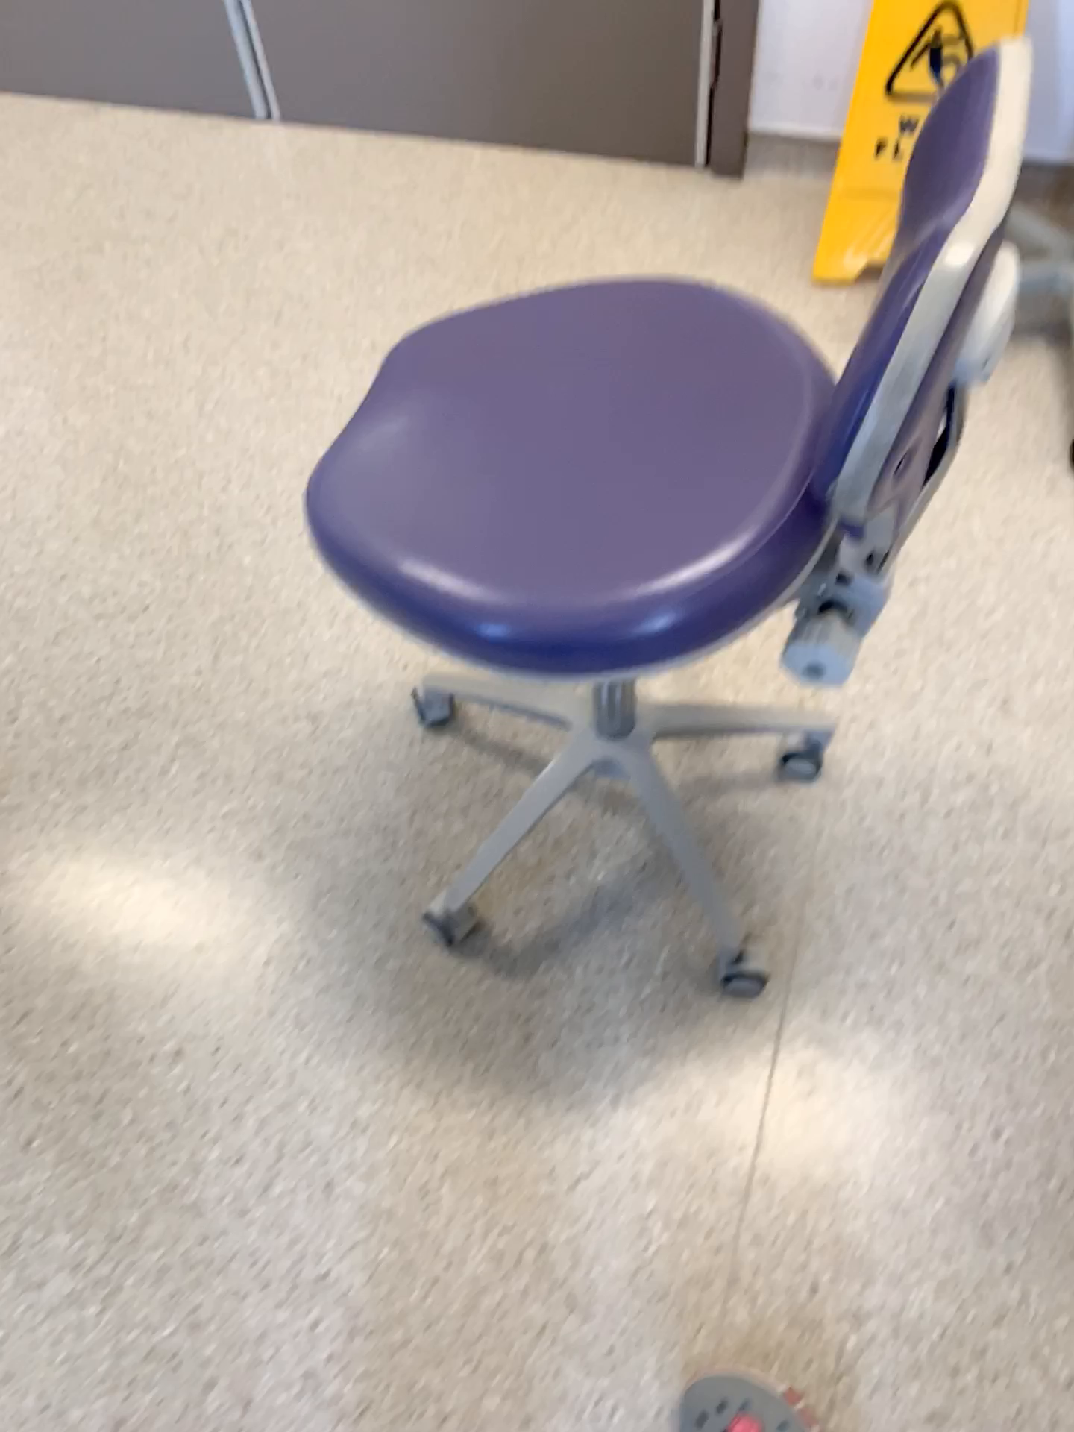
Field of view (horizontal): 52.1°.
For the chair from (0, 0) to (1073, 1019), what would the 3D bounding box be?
[{"bbox_3d":[0.046,-0.234,1.001,0.651,0.825,0.603,13,59,13],"label":"chair"}]
